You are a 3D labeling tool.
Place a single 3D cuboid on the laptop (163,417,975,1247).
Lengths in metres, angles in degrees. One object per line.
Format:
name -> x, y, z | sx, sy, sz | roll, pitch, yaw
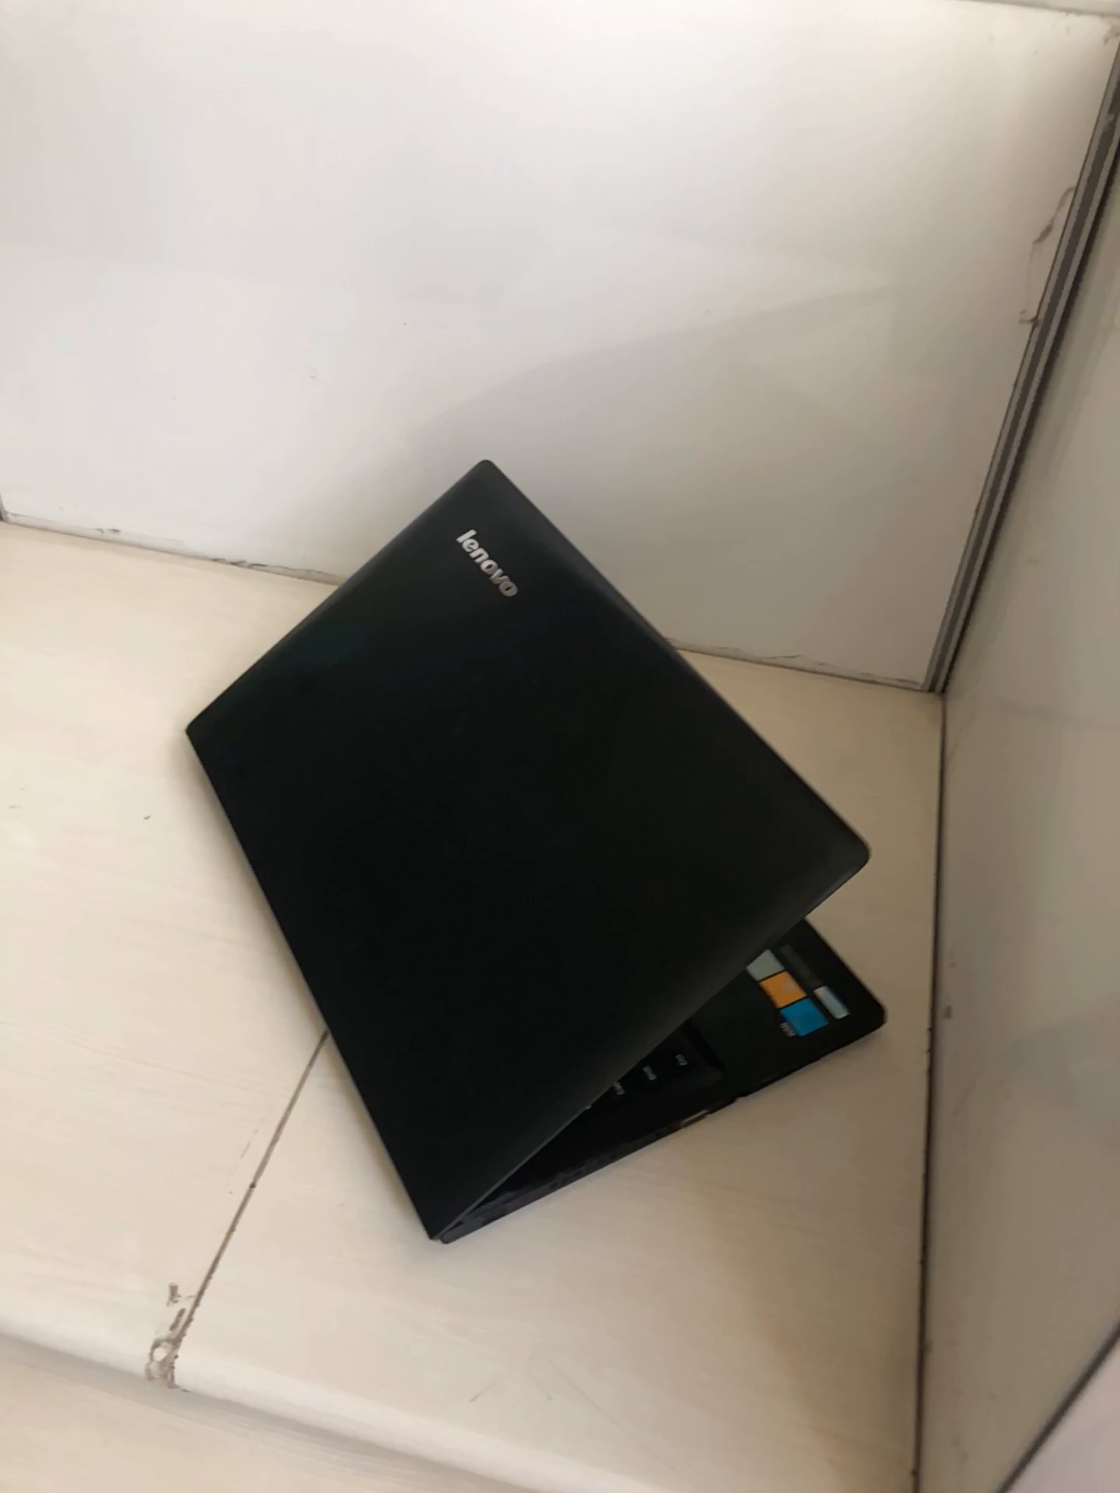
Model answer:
laptop -> -0.026, 0.011, 0.666 | 0.252, 0.161, 0.375 | -21, 47, -20
